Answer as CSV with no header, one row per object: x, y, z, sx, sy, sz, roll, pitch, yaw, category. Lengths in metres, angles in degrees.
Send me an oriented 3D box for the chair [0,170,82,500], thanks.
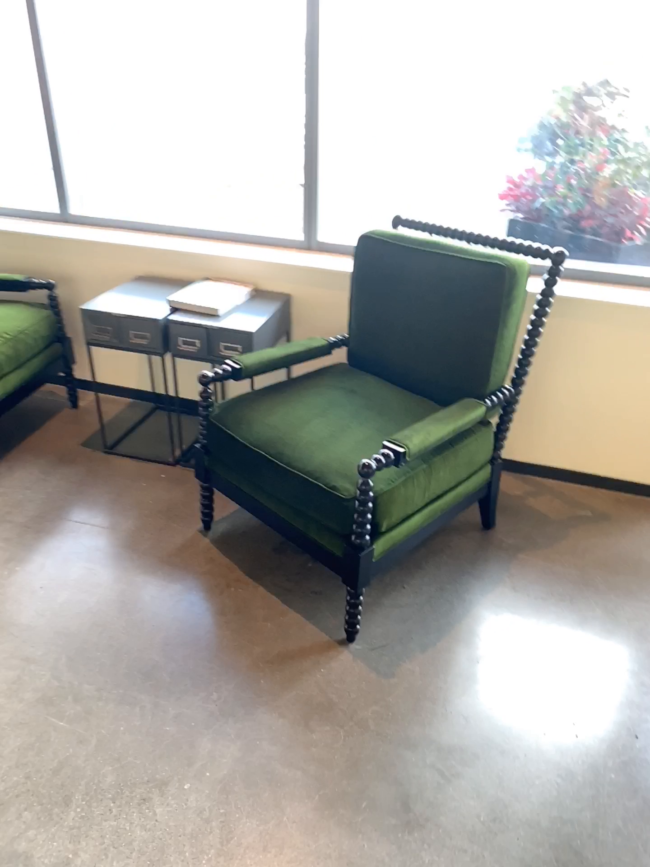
-1.636,-0.429,2.544,0.911,0.924,0.845,7,30,9,chair

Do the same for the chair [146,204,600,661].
0.131,-0.117,2.097,0.942,0.924,0.874,-25,39,-38,chair
